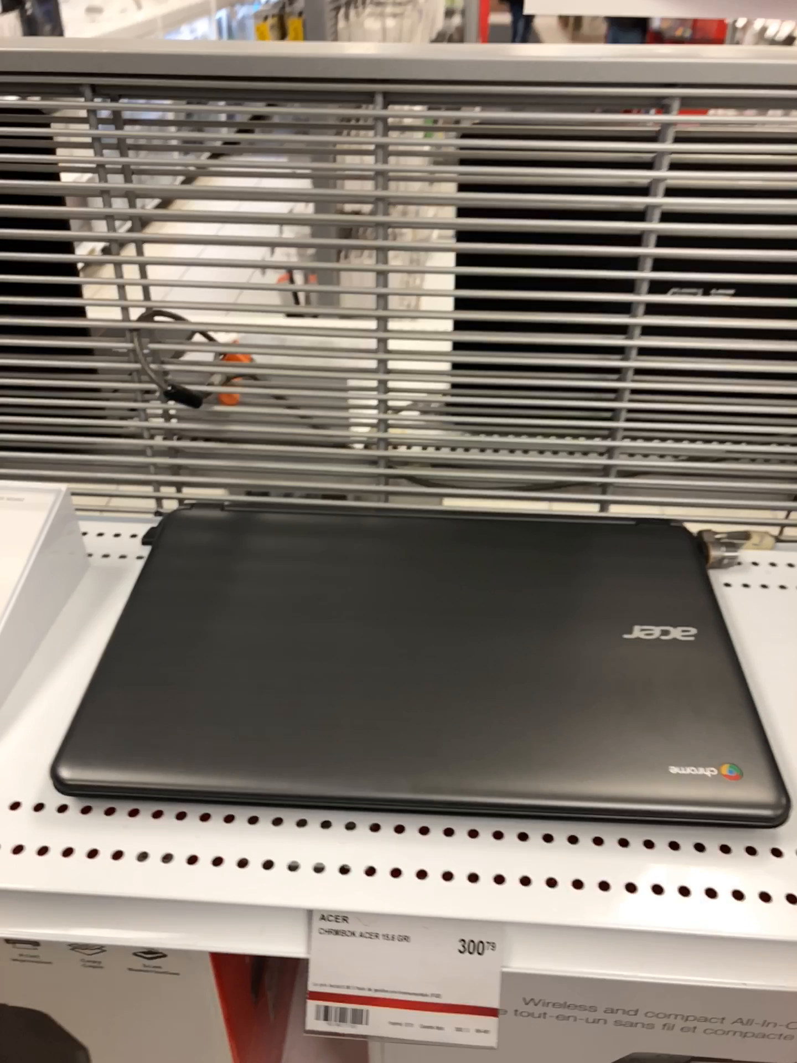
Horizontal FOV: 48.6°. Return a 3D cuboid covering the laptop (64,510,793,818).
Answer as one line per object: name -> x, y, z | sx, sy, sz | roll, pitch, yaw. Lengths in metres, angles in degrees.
laptop -> 0.012, 0.061, 0.540 | 0.367, 0.001, 0.238 | 2, 36, 4
